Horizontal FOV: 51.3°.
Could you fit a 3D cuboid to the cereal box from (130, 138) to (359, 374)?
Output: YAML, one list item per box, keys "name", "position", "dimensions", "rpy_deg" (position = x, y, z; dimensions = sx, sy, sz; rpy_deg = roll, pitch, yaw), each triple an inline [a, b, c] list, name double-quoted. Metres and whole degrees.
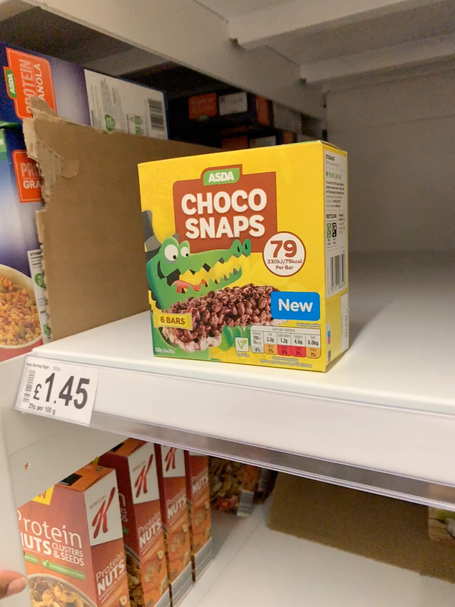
- name: "cereal box"
  position: [0.014, -0.032, 0.319]
  dimensions: [0.130, 0.129, 0.070]
  rpy_deg: [2, 11, 27]
